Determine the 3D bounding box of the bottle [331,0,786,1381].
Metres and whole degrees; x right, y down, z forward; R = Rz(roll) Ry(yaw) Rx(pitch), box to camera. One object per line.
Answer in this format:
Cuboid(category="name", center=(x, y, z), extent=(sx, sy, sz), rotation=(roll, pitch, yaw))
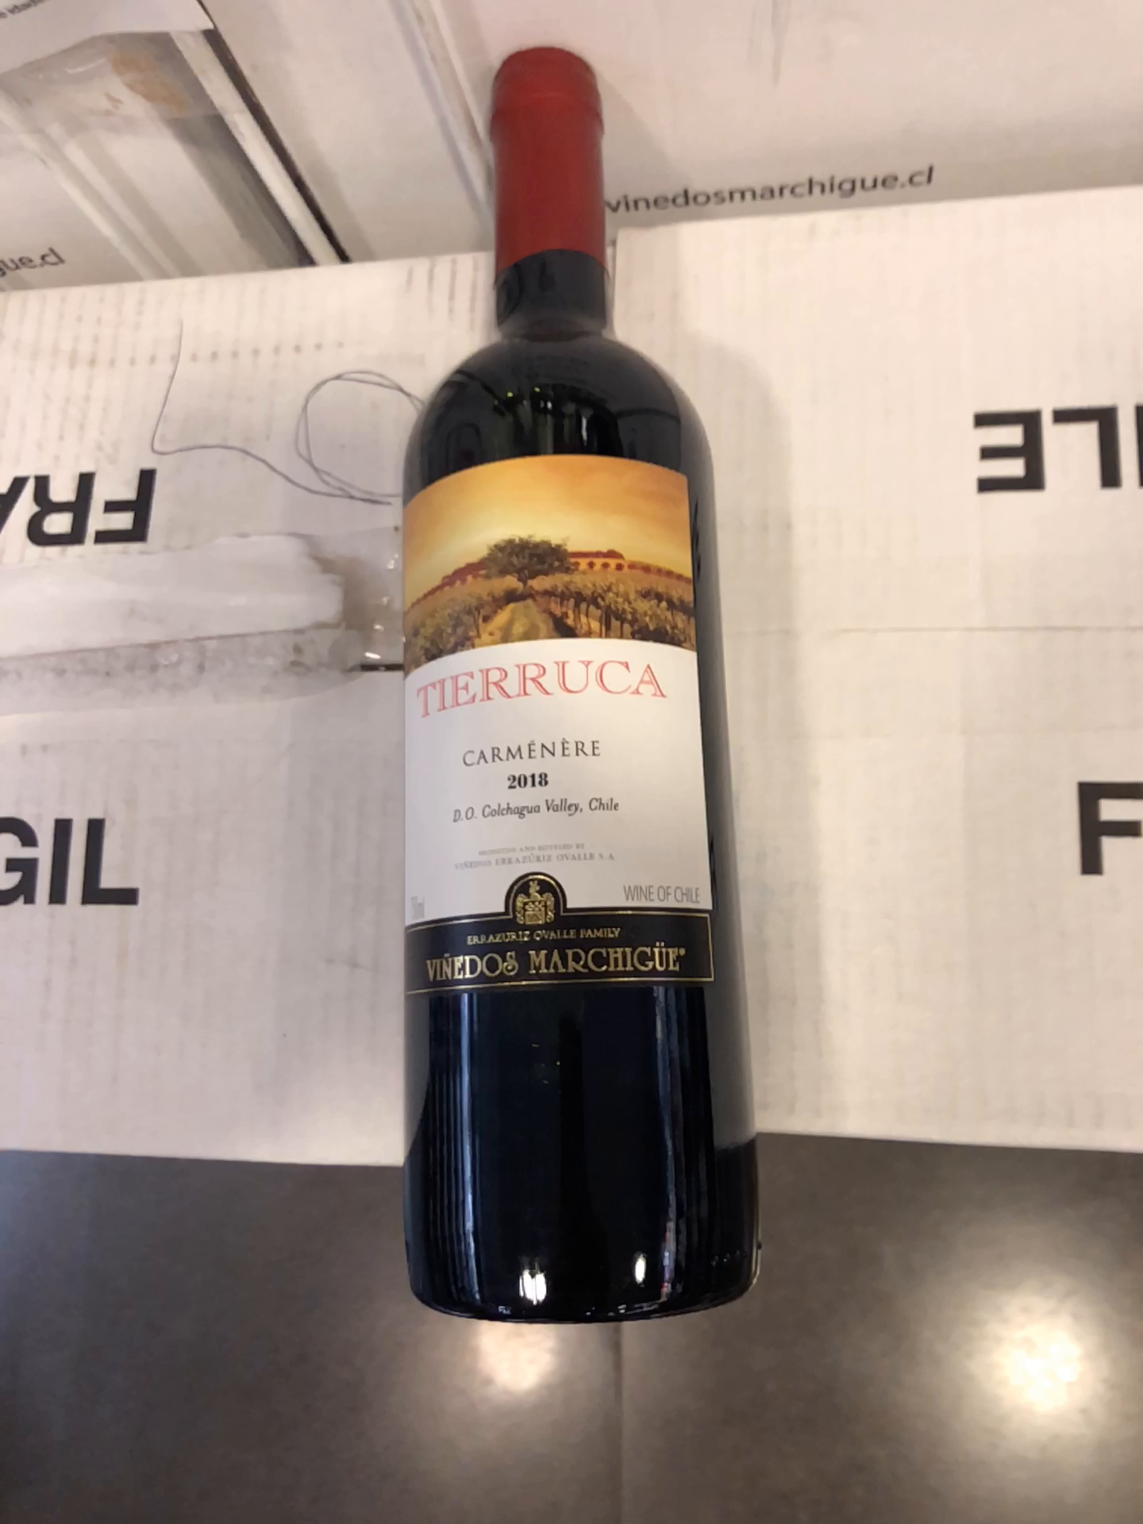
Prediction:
Cuboid(category="bottle", center=(0.000, -0.041, 0.296), extent=(0.080, 0.080, 0.320), rotation=(-3, 78, 10))
